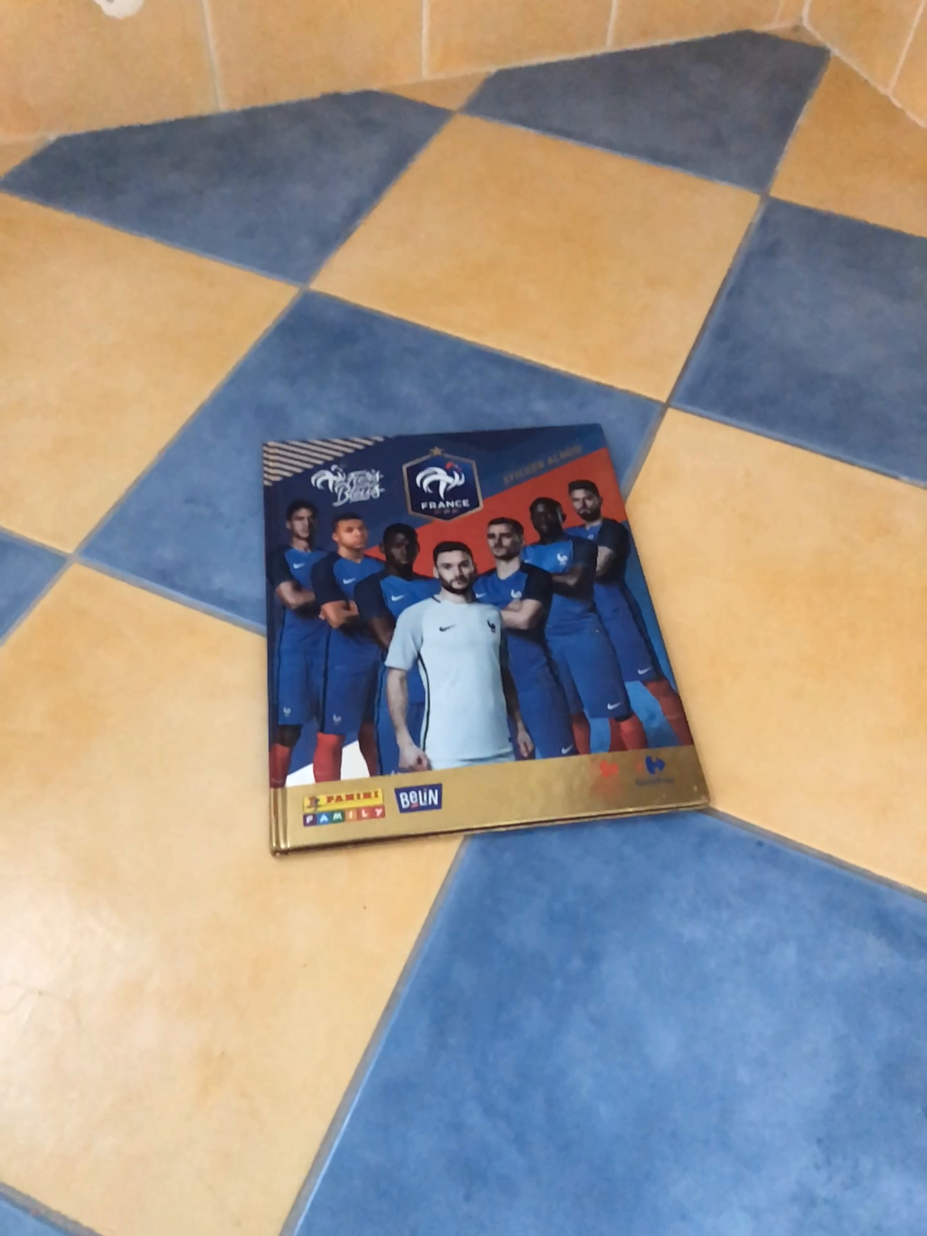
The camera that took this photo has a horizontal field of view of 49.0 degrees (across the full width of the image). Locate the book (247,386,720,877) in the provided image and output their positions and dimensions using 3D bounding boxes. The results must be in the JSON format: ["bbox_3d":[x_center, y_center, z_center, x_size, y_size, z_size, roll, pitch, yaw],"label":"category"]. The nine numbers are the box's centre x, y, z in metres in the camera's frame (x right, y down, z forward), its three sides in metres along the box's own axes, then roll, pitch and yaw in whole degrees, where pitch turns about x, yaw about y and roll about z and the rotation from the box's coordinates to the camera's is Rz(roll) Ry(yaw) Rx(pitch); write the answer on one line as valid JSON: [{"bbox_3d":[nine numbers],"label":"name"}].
[{"bbox_3d":[-0.007,-0.015,0.620,0.240,0.030,0.321,-5,55,-7],"label":"book"}]
